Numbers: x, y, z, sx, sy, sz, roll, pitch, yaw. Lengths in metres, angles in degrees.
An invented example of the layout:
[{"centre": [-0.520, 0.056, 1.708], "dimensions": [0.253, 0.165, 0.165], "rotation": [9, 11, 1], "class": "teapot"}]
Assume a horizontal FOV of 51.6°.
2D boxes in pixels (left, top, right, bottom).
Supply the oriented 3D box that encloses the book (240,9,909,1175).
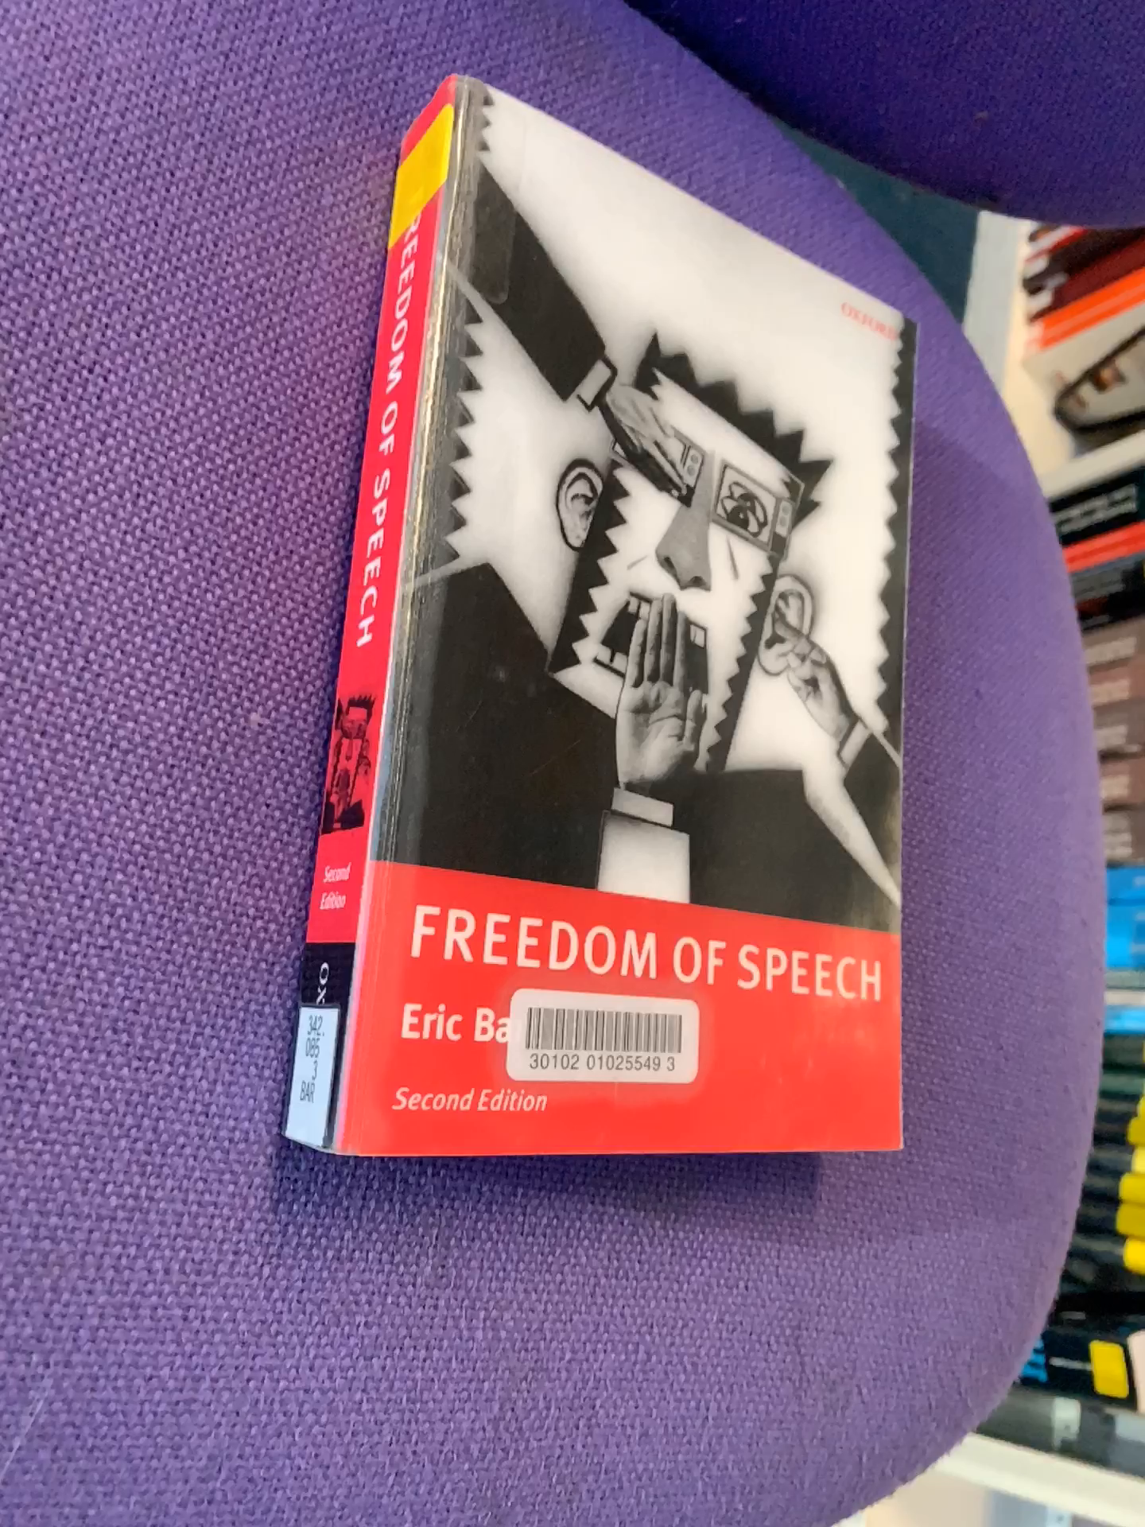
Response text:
[{"centre": [0.015, -0.031, 0.306], "dimensions": [0.161, 0.050, 0.250], "rotation": [13, 74, -36], "class": "book"}]
